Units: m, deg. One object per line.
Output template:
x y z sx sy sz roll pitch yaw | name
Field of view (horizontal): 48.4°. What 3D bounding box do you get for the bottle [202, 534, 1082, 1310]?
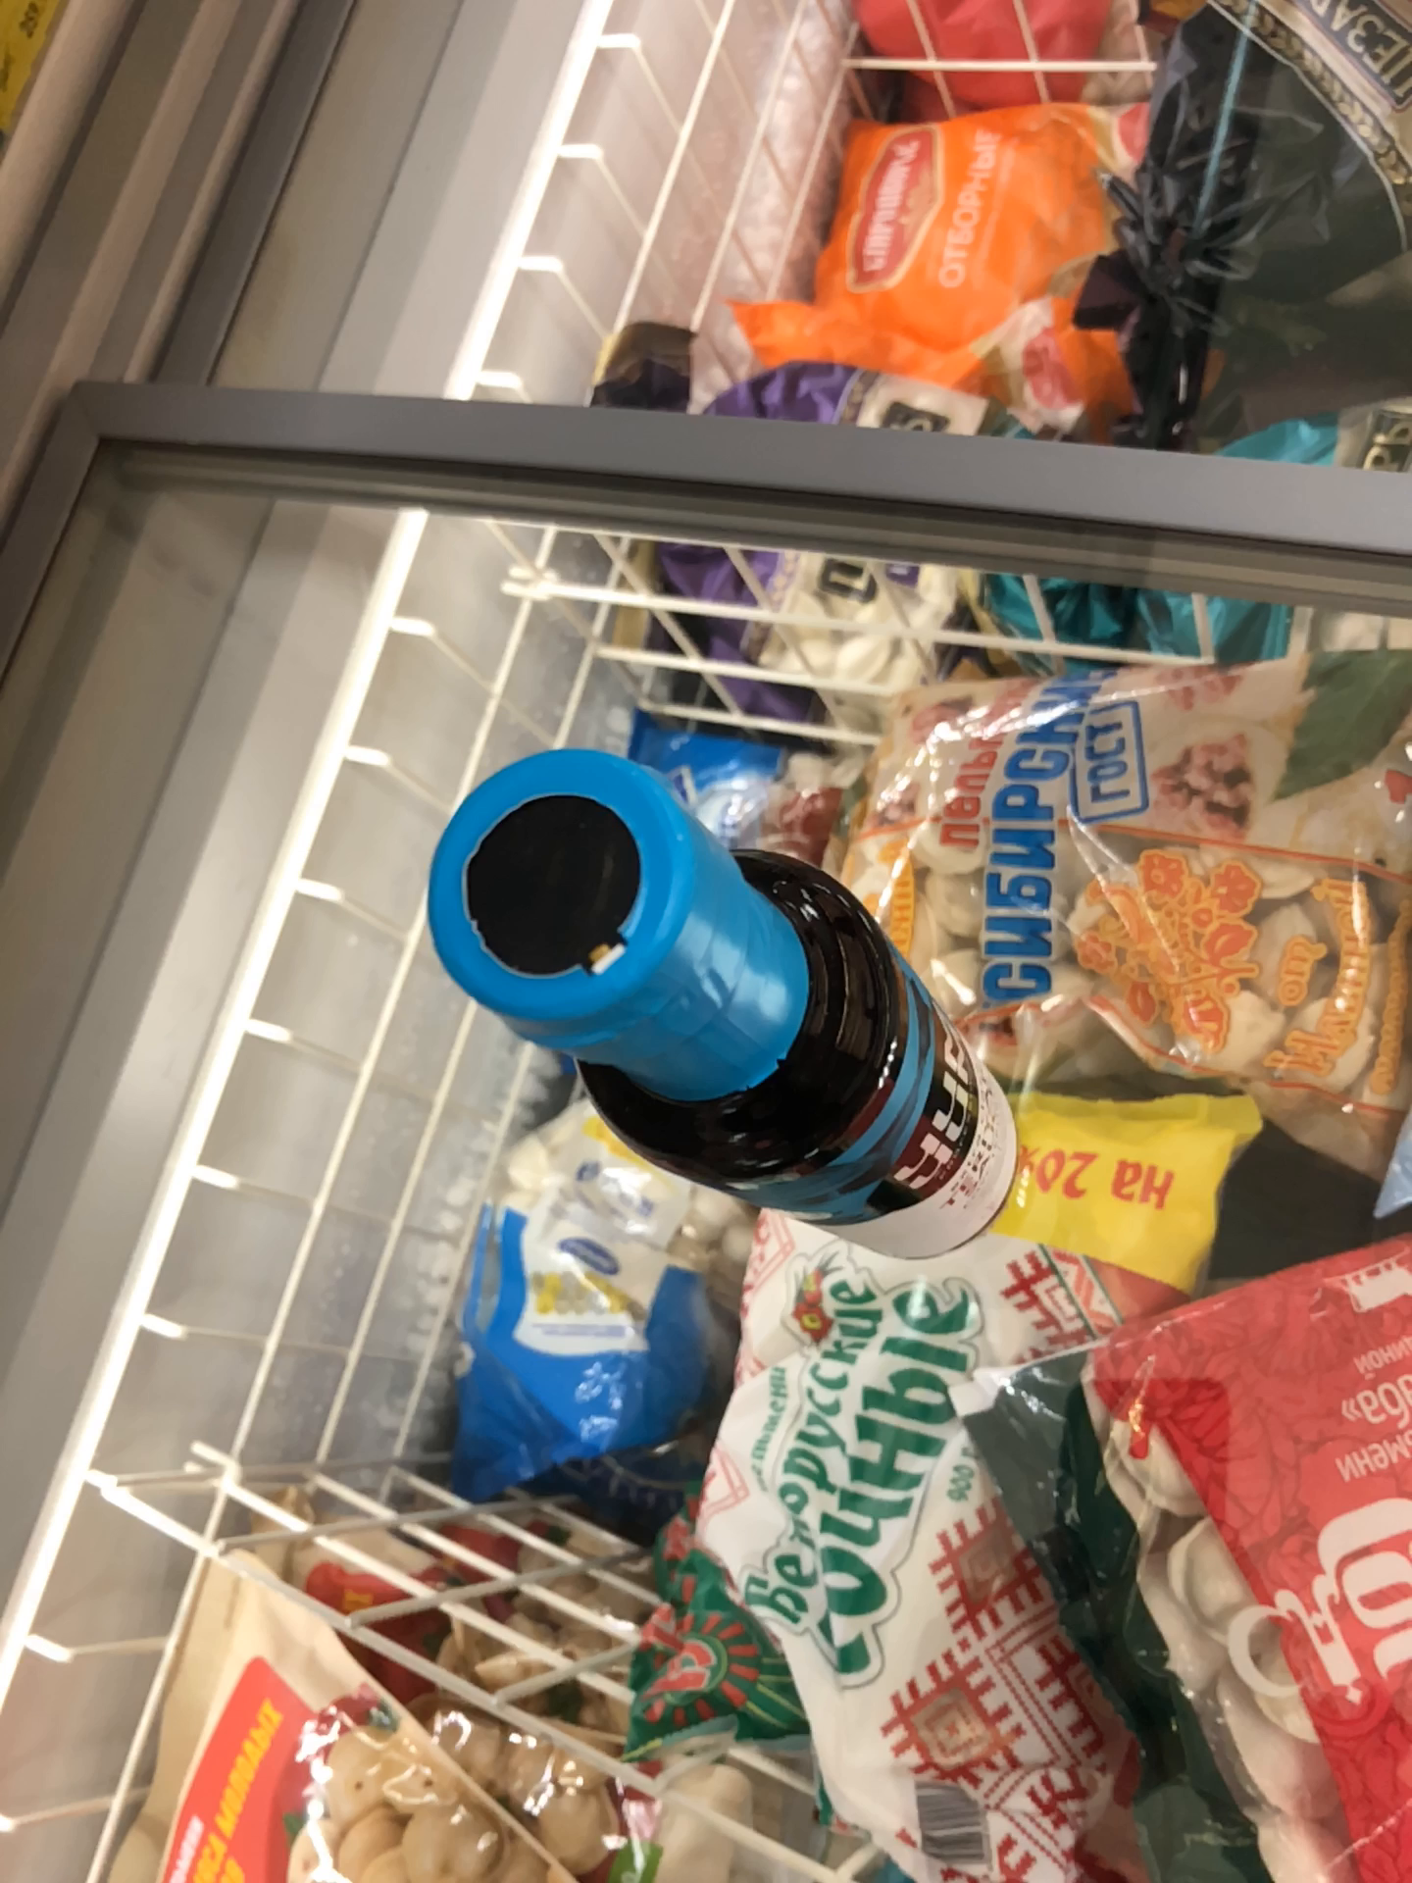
0.016 0.017 0.265 0.060 0.219 0.060 -6 71 18 | bottle
